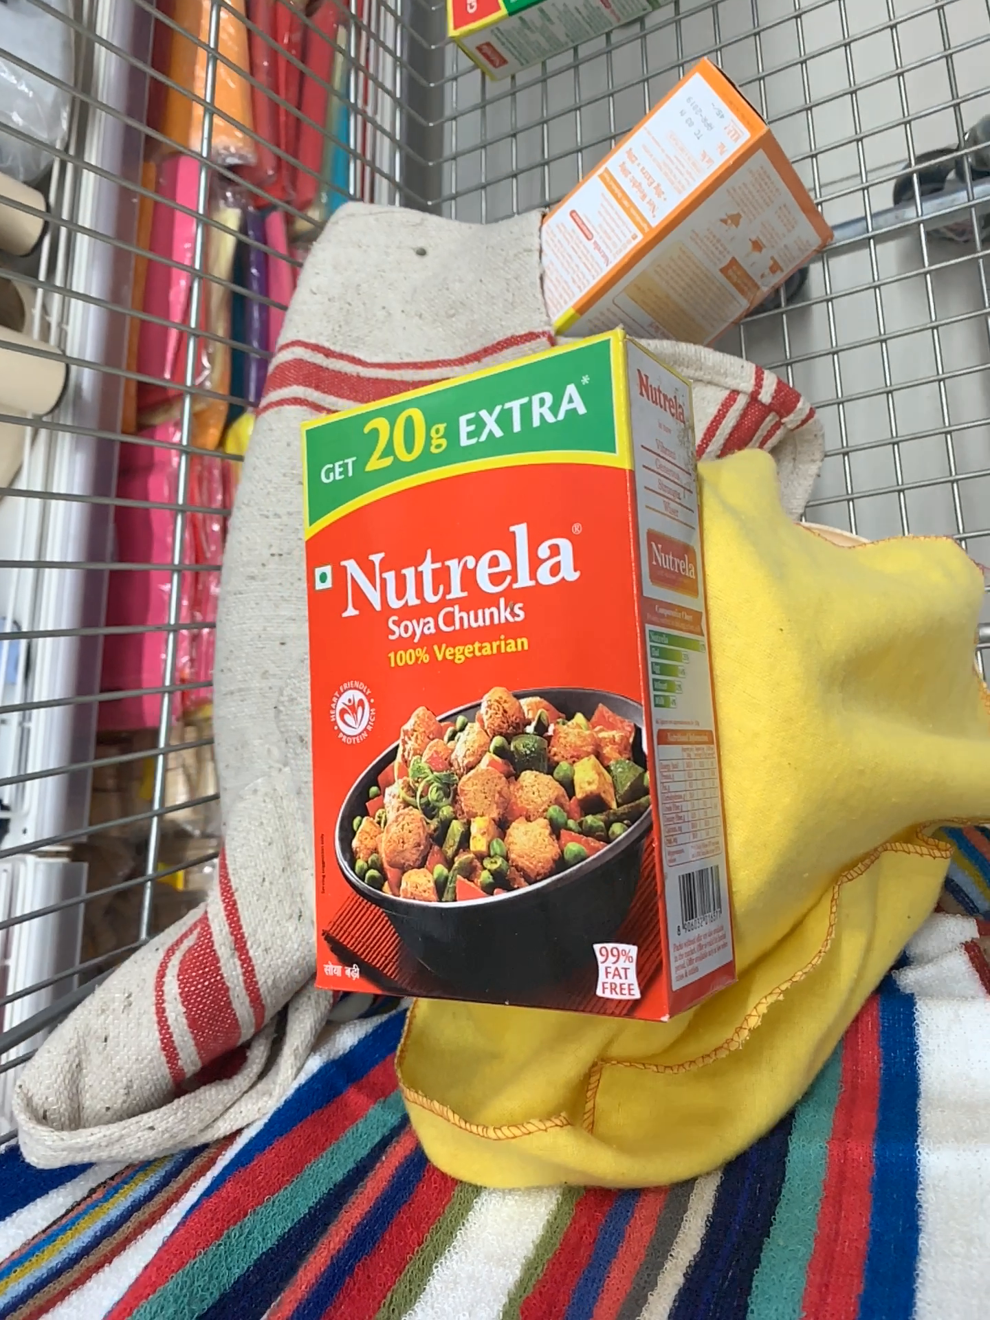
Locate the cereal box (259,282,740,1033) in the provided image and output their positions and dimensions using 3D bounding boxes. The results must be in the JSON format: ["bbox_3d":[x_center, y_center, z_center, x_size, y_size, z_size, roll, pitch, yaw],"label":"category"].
[{"bbox_3d":[-0.003,0.004,0.298,0.121,0.060,0.180,-7,81,32],"label":"cereal box"}]
